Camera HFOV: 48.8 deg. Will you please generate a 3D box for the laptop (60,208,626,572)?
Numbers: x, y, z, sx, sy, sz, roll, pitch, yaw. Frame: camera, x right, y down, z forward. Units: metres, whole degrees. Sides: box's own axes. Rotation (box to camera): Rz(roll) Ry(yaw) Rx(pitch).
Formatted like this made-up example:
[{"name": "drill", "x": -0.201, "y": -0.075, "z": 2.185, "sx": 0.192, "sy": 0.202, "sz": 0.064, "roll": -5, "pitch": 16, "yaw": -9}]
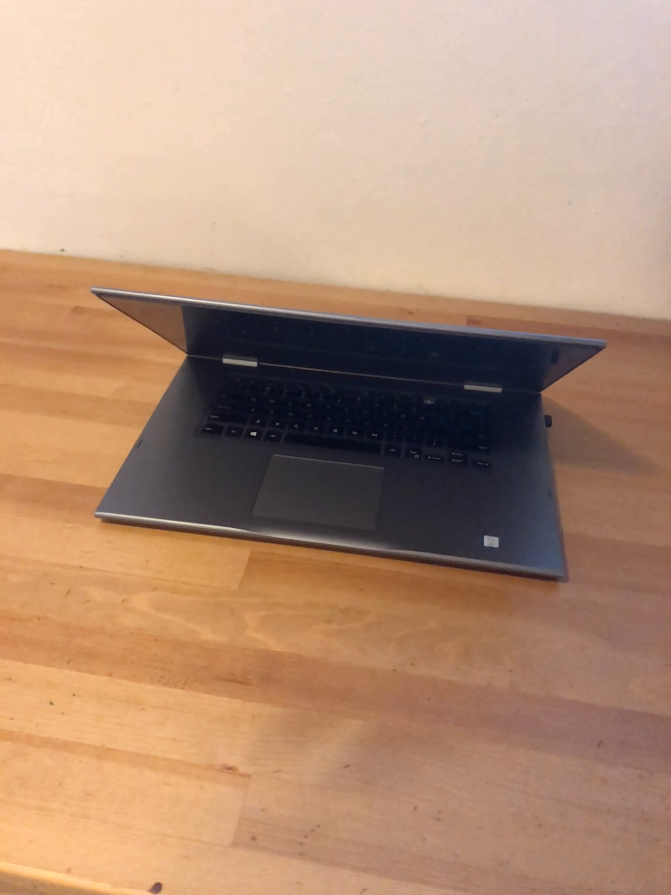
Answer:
[{"name": "laptop", "x": 0.015, "y": -0.064, "z": 0.634, "sx": 0.375, "sy": 0.165, "sz": 0.248, "roll": 6, "pitch": 39, "yaw": 5}]
